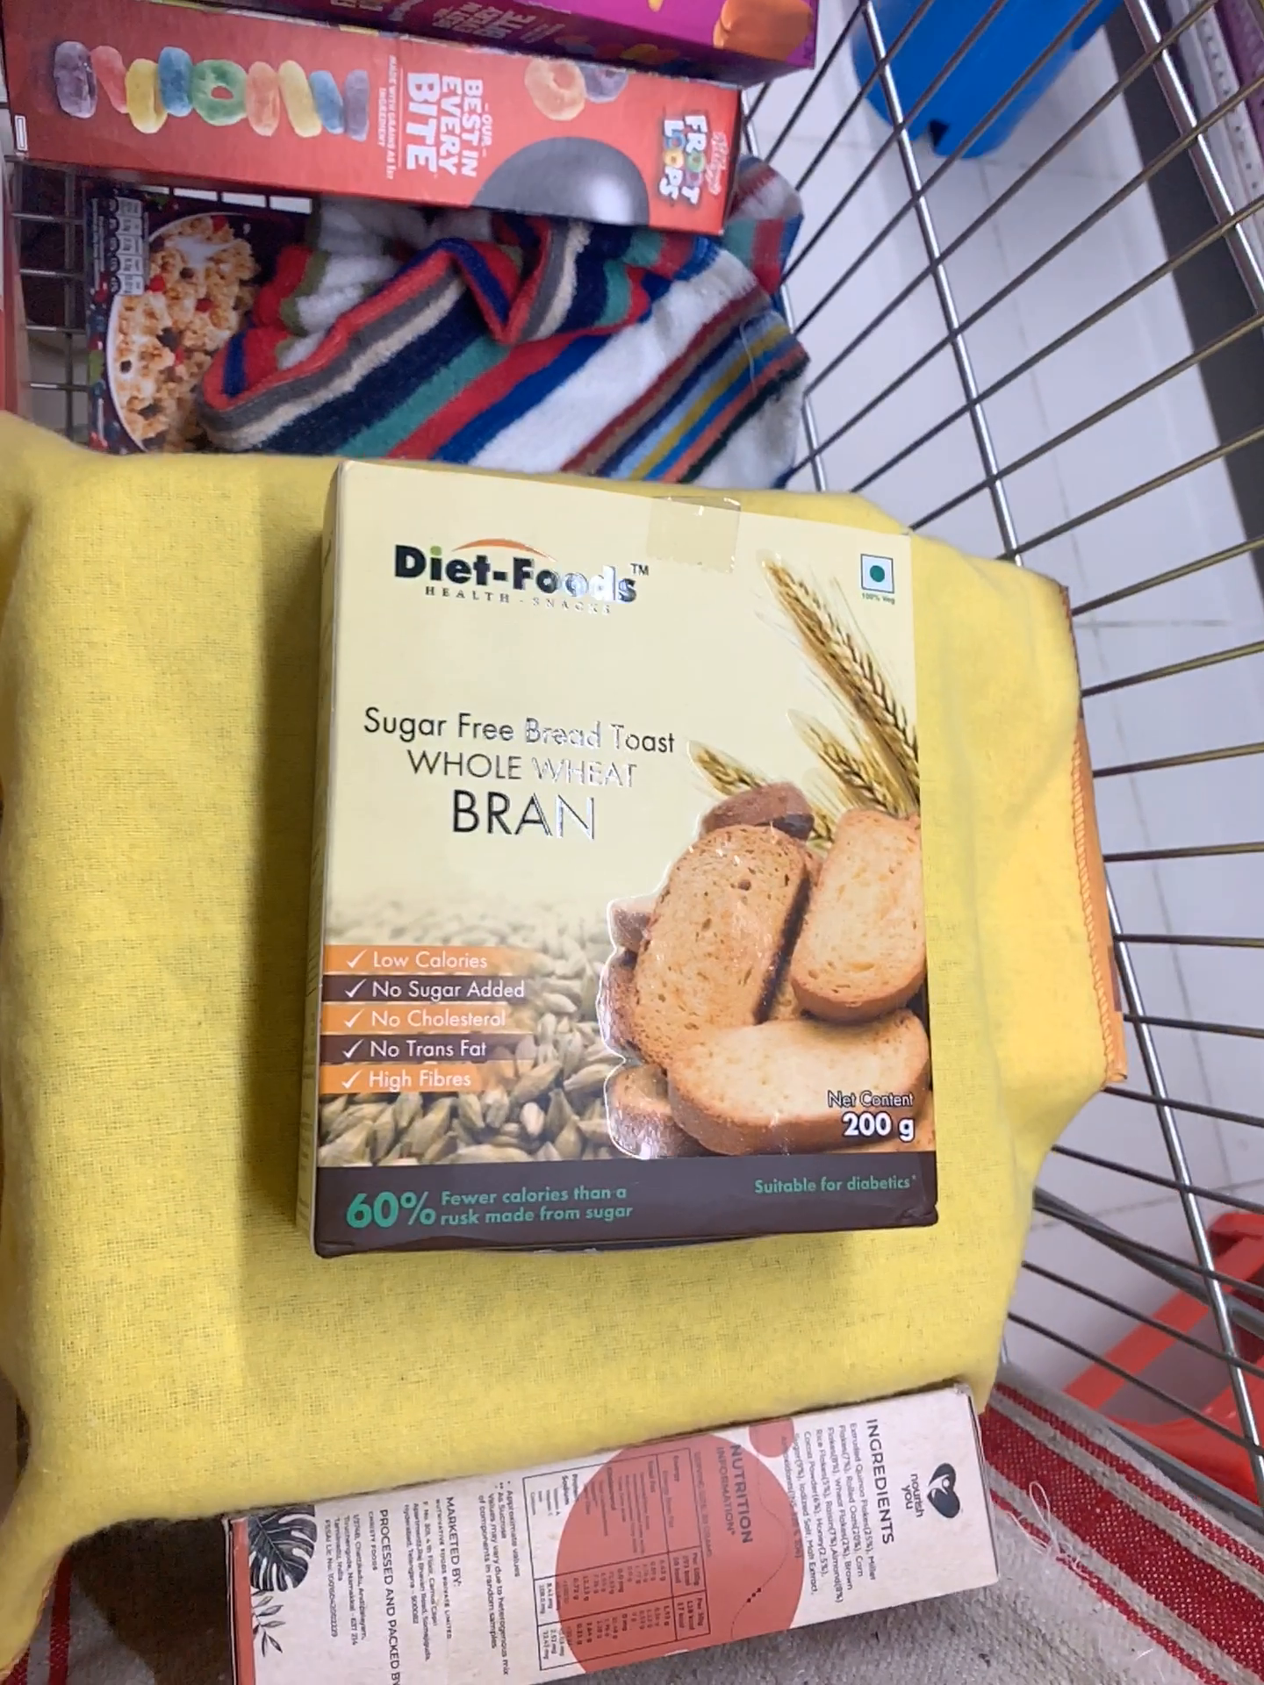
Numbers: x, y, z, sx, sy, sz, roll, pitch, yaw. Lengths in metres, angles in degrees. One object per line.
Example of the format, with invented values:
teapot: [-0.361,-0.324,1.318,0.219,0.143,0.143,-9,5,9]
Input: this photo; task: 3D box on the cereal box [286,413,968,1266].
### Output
cereal box: [-0.003,0.002,0.300,0.140,0.050,0.170,3,79,-17]
